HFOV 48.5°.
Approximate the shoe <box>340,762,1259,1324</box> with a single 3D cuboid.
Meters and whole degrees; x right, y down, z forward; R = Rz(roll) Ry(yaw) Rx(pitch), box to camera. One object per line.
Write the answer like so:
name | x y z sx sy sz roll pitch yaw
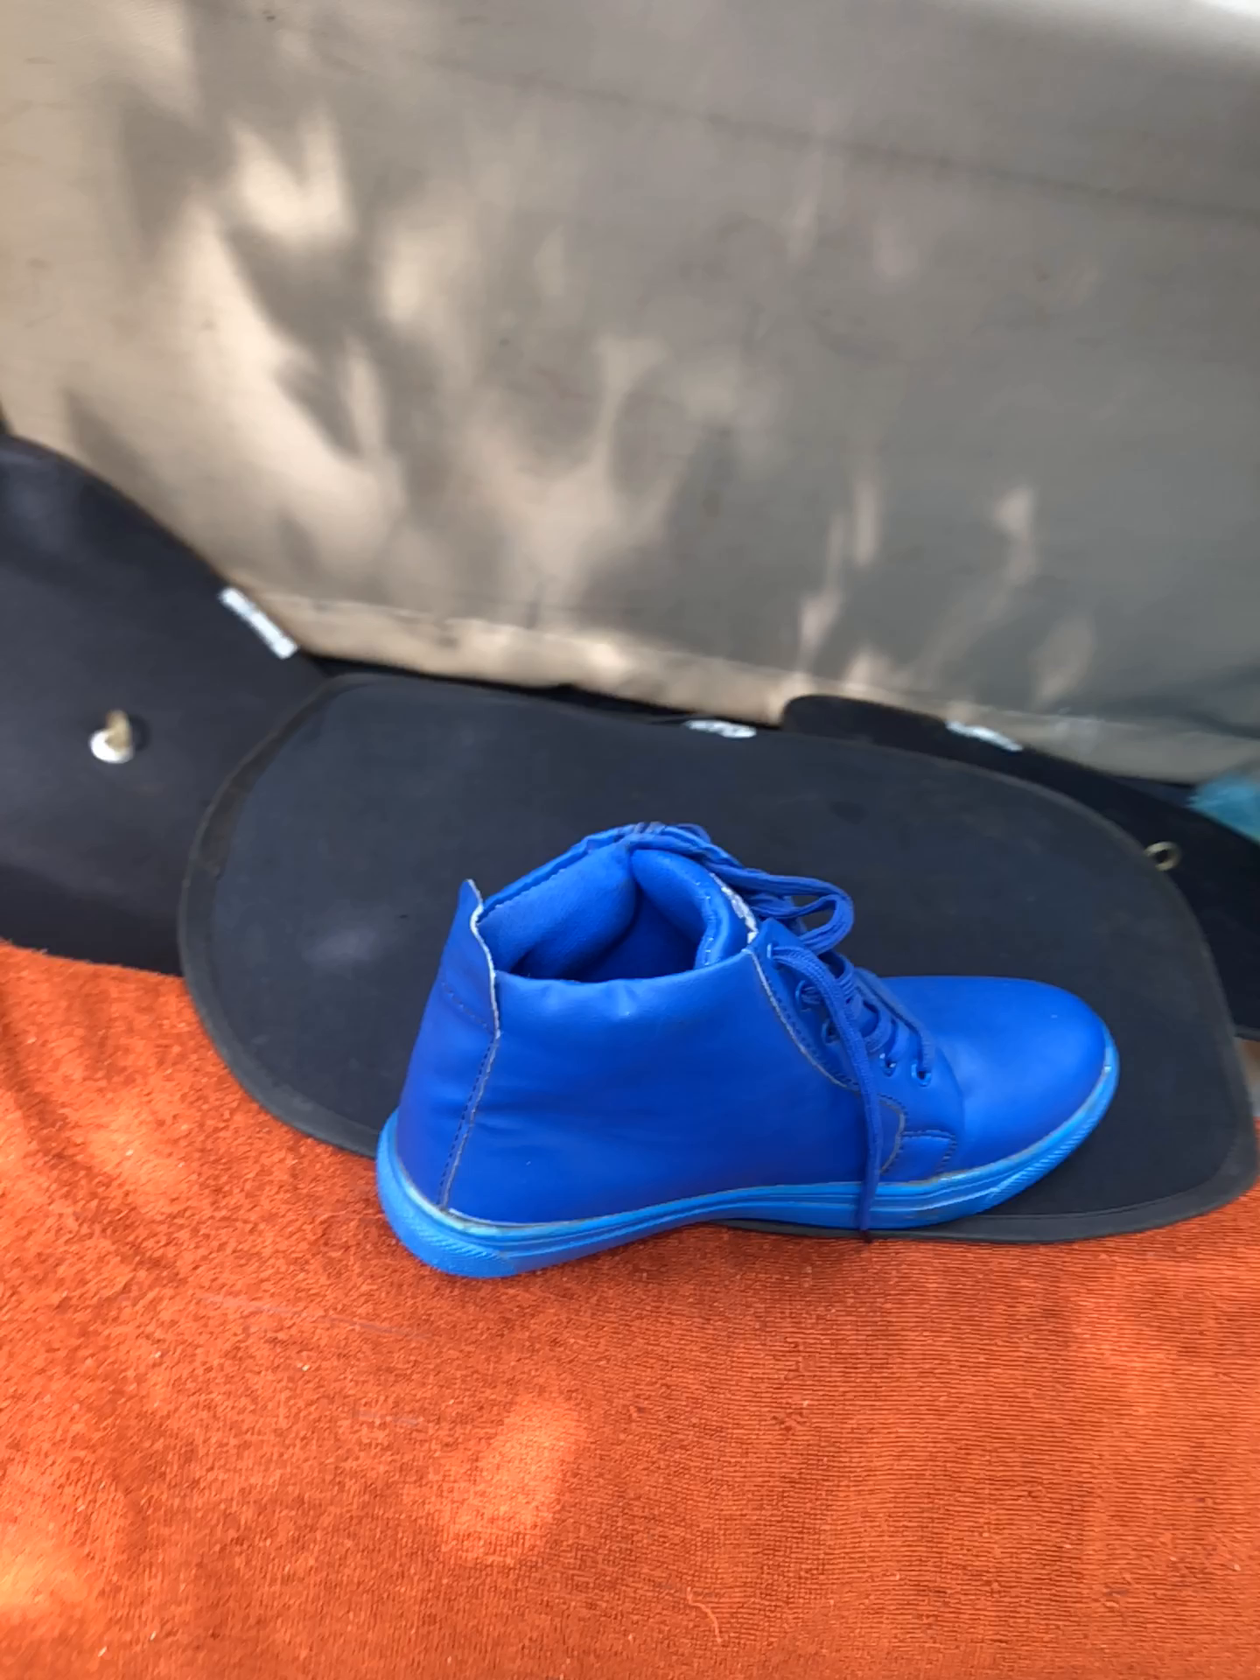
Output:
shoe | 0.055 0.063 0.486 0.291 0.139 0.100 -3 41 -18
